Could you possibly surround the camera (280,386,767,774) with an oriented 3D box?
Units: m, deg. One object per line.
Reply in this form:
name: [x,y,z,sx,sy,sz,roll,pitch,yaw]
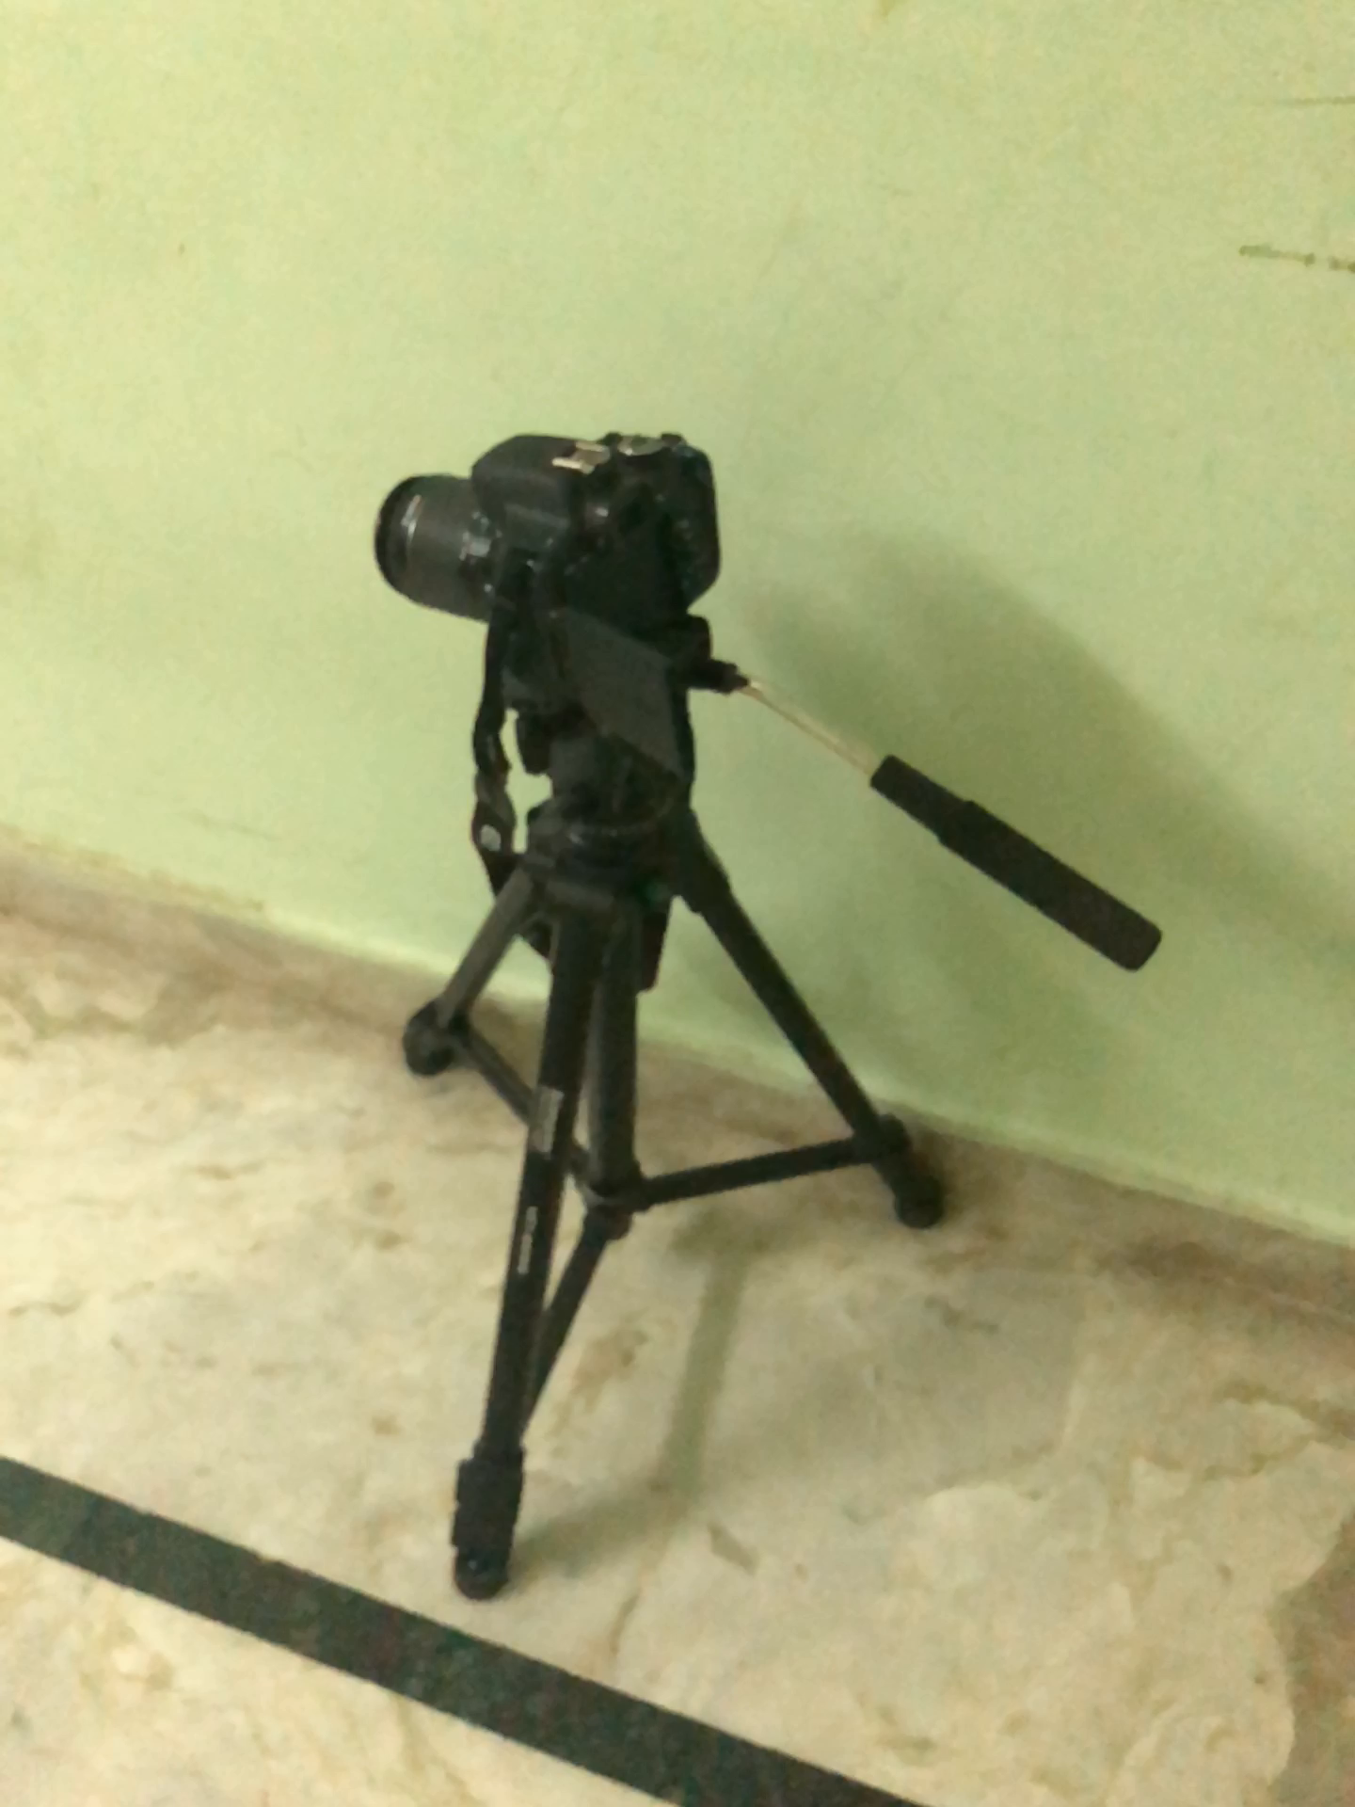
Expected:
camera: [-0.071,-0.167,0.751,0.190,0.099,0.131,19,49,22]
